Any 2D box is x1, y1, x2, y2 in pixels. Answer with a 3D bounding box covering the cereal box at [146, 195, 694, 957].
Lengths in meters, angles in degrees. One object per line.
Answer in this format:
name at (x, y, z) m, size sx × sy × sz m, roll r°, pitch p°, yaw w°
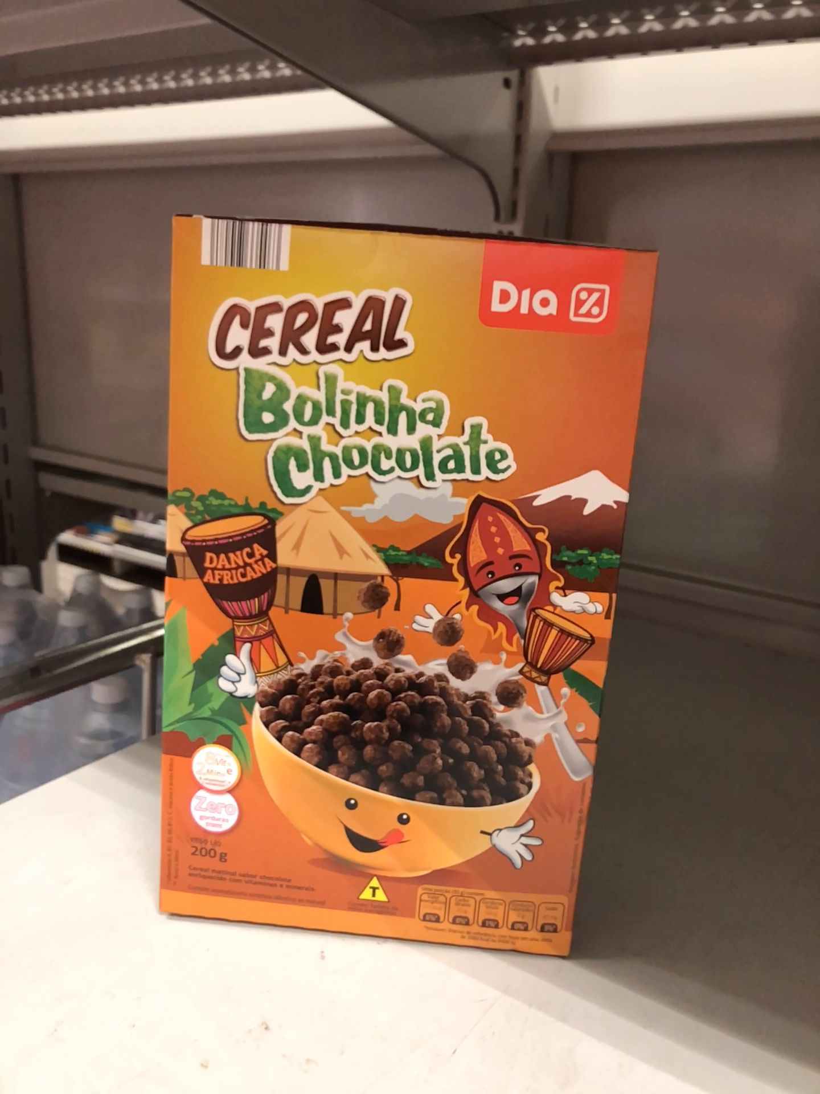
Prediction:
cereal box at (-0.003, 0.013, 0.352) m, size 0.170 × 0.259 × 0.060 m, roll 6°, pitch 11°, yaw 2°
